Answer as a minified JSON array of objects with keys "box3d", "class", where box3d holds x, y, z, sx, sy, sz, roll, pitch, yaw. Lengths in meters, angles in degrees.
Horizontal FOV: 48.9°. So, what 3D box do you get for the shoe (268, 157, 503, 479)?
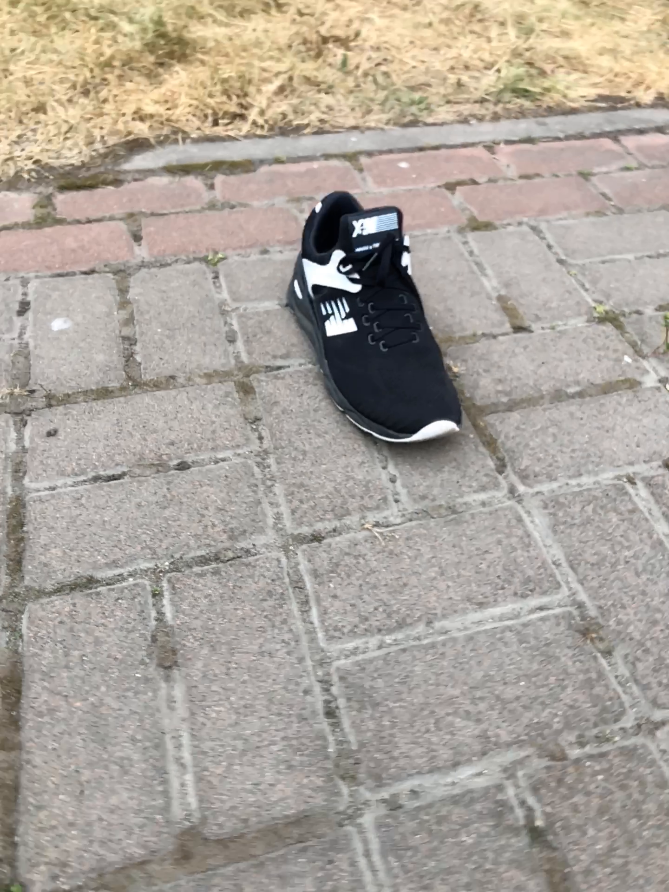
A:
[{"box3d":[0.027,-0.126,0.658,0.100,0.129,0.282,-12,49,-14],"class":"shoe"}]
